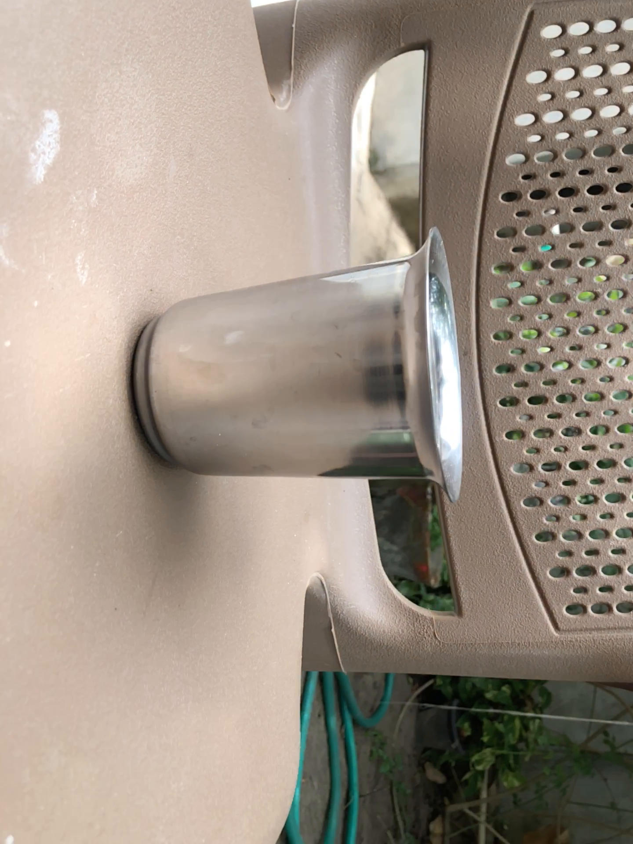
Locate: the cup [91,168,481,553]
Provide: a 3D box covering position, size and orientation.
[{"bbox_3d":[0.001,-0.015,0.235,0.090,0.089,0.080,65,30,-46],"label":"cup"}]
